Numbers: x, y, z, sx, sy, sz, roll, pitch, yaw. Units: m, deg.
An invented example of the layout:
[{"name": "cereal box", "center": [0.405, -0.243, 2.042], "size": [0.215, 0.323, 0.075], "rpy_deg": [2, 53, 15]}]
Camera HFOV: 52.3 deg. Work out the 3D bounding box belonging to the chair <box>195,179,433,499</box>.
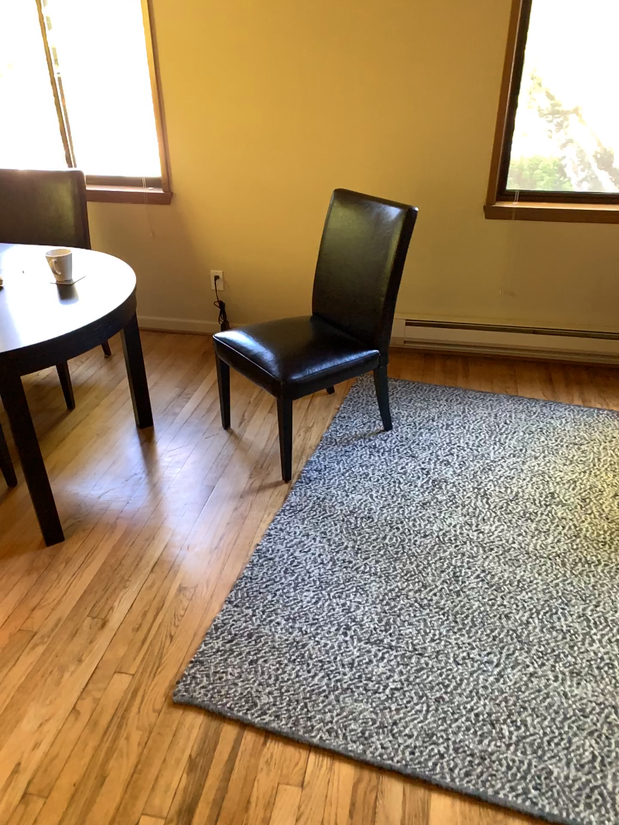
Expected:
[{"name": "chair", "center": [0.017, -0.329, 2.575], "size": [0.671, 1.033, 0.563], "rpy_deg": [-22, 37, -32]}]
